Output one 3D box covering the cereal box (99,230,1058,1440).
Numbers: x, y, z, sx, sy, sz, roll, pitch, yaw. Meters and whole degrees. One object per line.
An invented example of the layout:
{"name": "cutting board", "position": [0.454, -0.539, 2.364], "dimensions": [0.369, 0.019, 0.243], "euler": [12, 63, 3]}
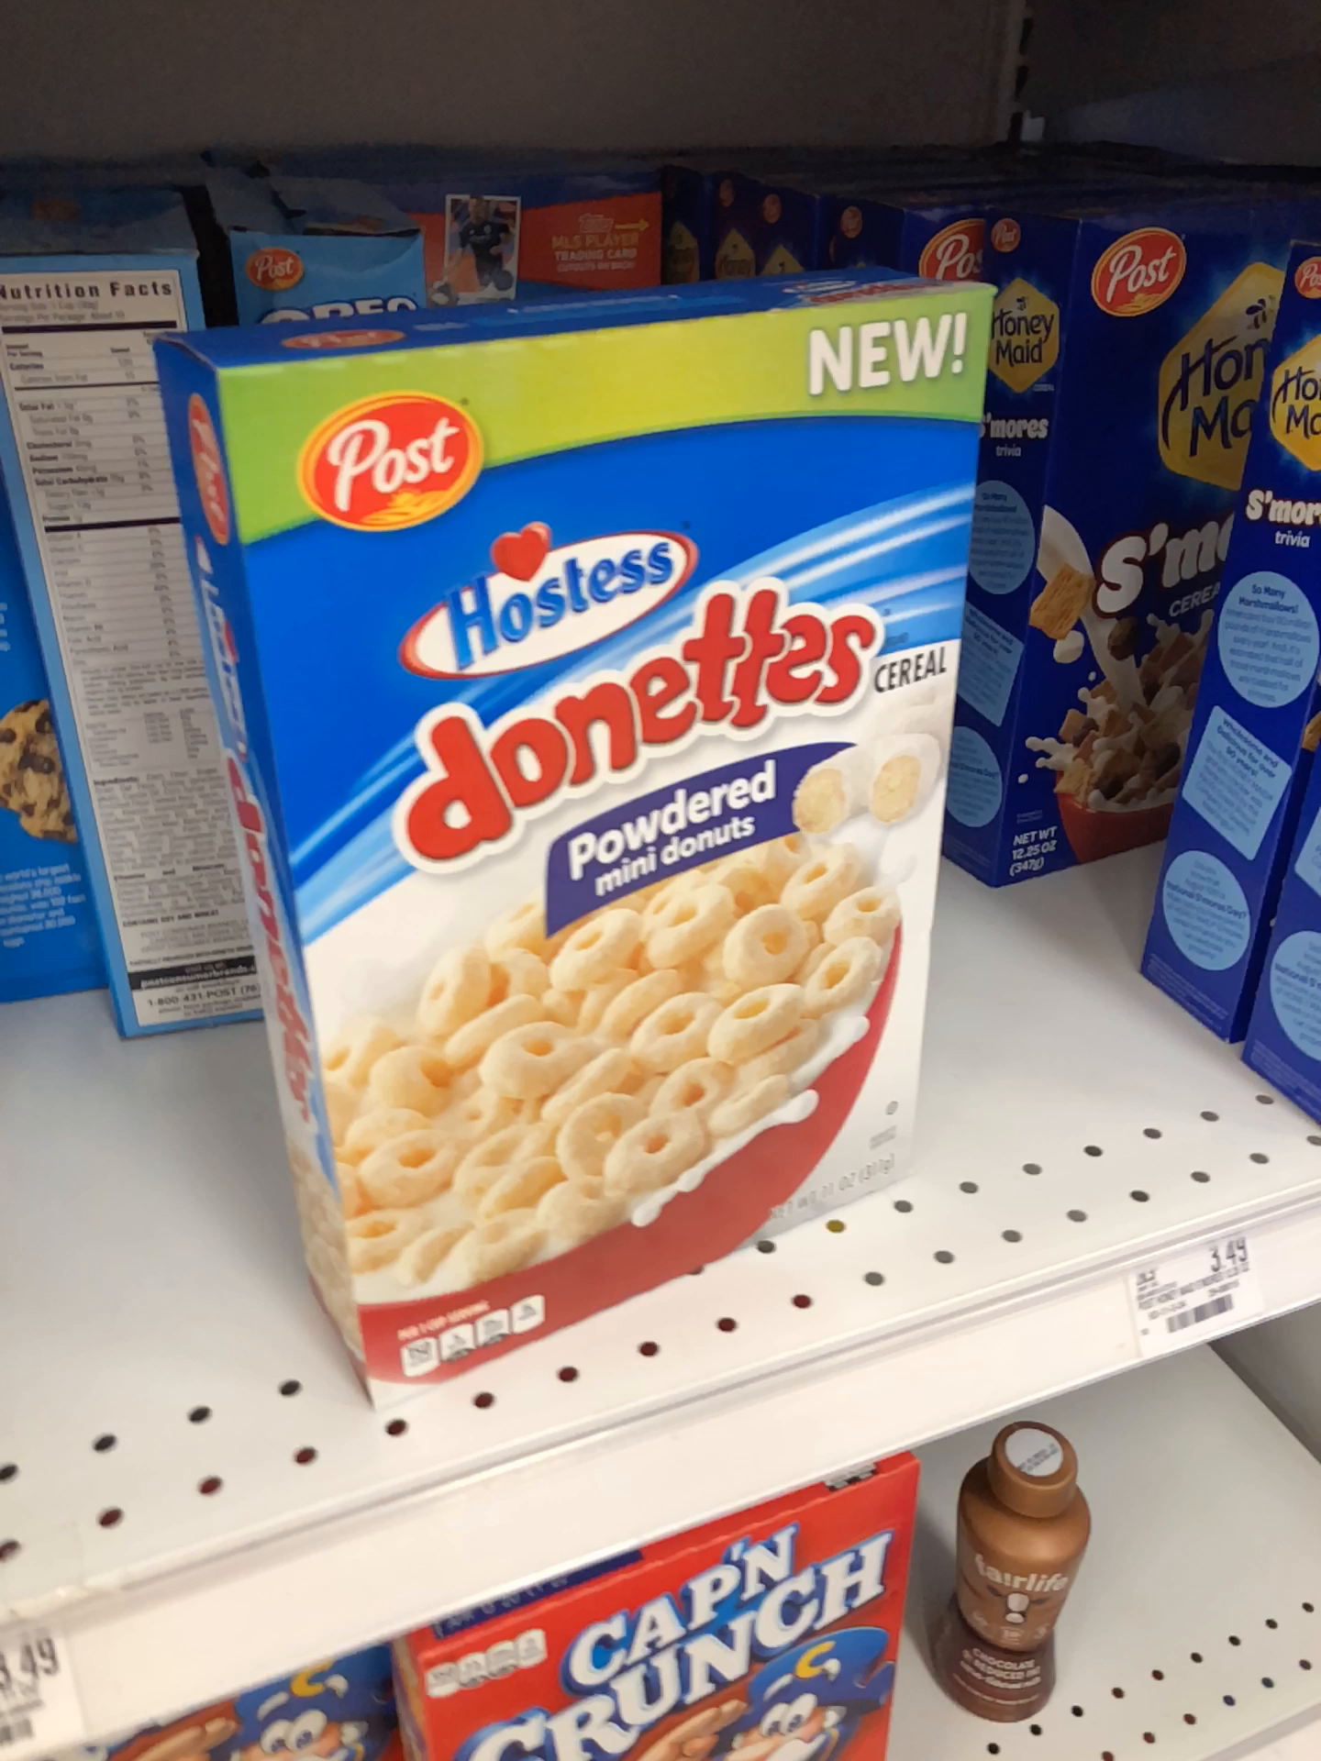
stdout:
{"name": "cereal box", "position": [-0.010, -0.012, 0.362], "dimensions": [0.190, 0.259, 0.060], "euler": [-17, 33, -26]}
